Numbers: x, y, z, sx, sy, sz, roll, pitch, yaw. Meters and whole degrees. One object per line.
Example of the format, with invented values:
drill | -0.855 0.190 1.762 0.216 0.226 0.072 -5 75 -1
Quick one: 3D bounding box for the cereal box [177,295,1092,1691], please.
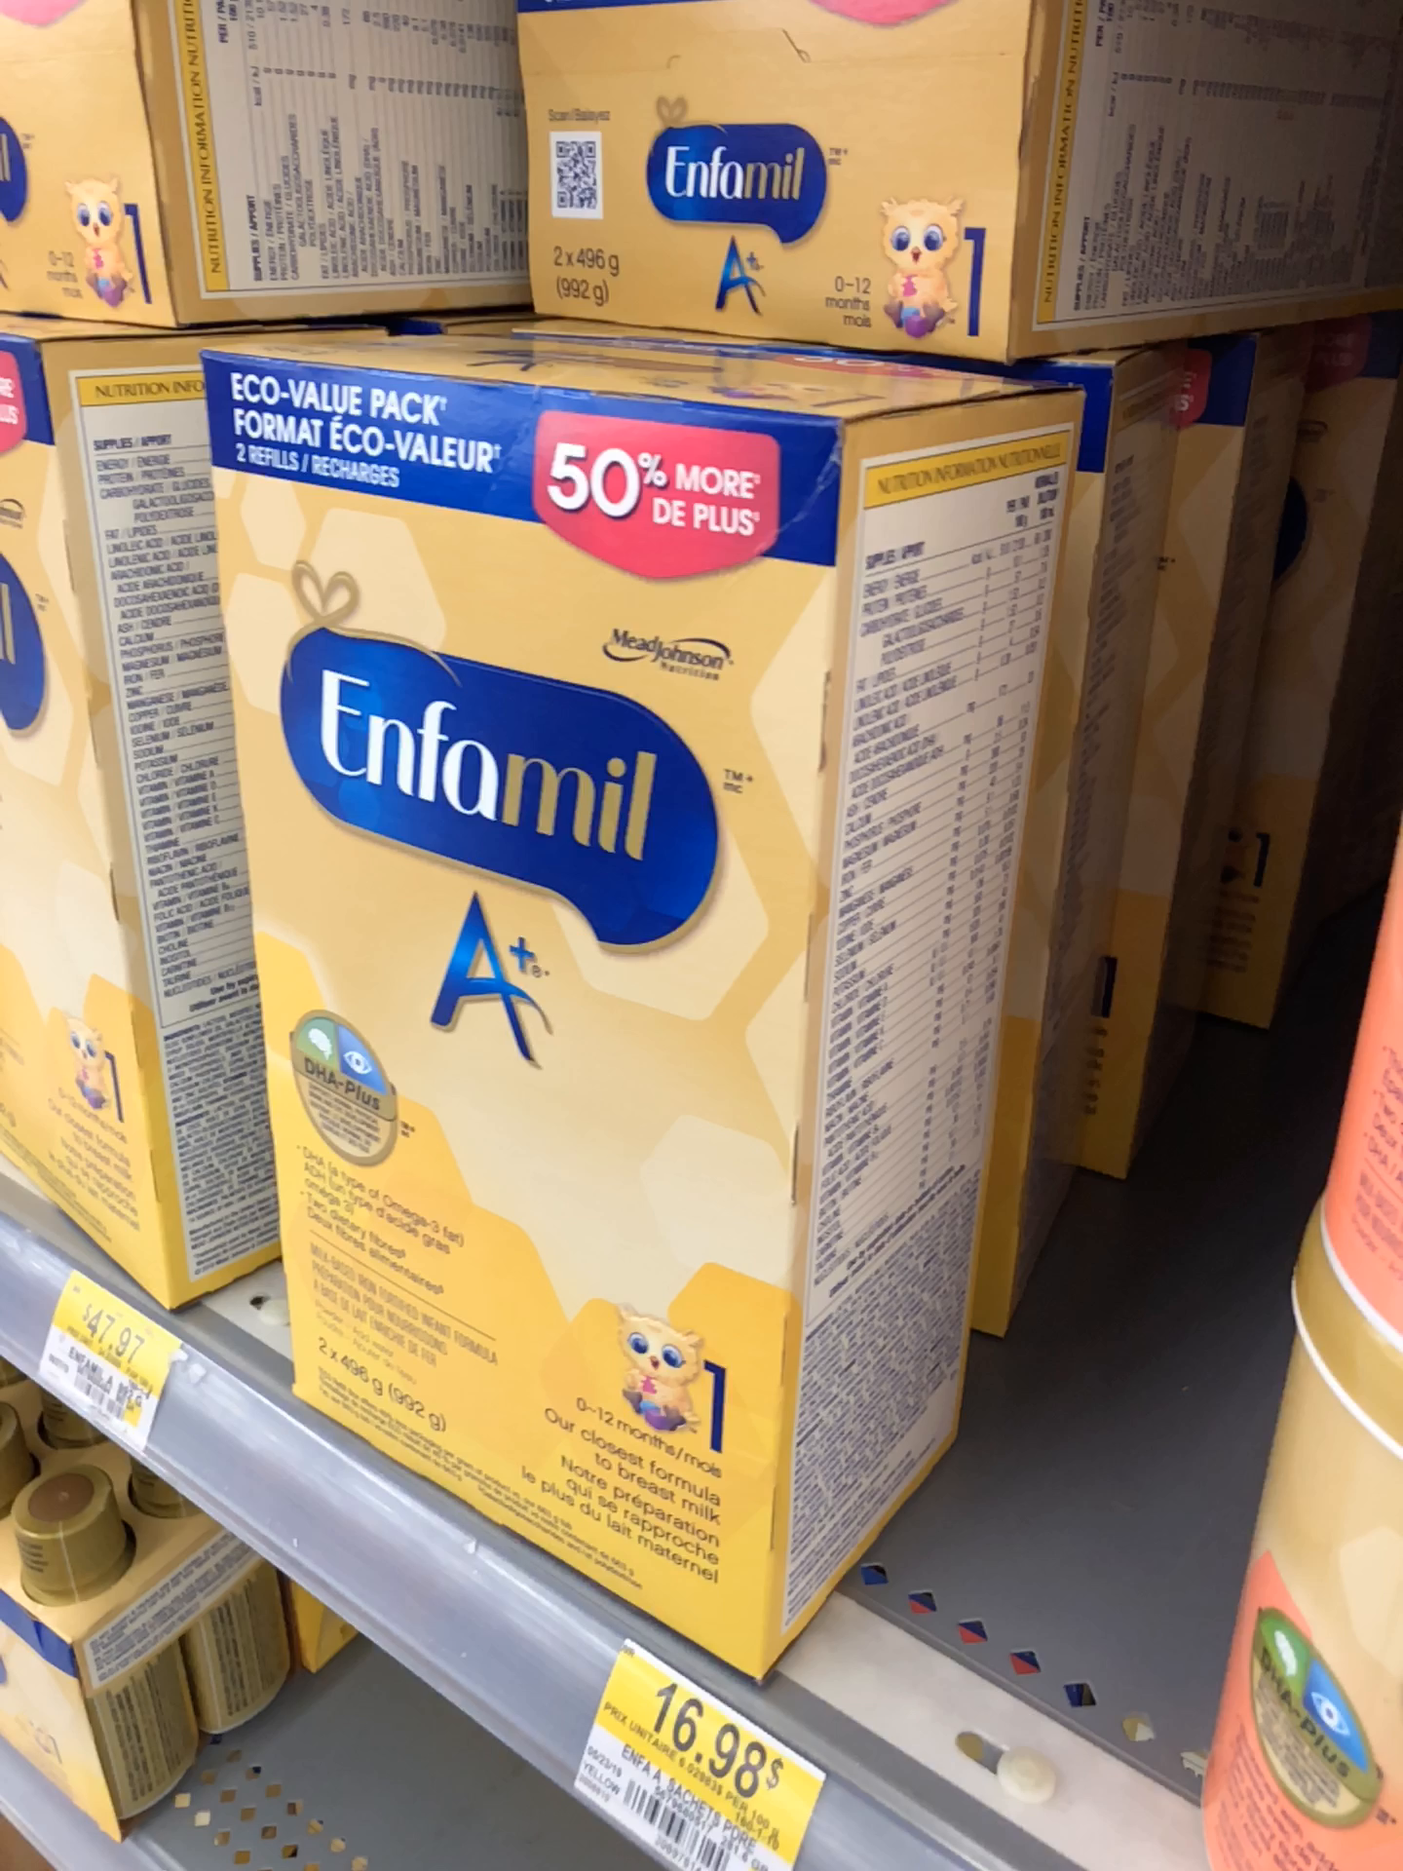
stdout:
cereal box | -0.018 0.005 0.337 0.150 0.258 0.080 18 28 31
